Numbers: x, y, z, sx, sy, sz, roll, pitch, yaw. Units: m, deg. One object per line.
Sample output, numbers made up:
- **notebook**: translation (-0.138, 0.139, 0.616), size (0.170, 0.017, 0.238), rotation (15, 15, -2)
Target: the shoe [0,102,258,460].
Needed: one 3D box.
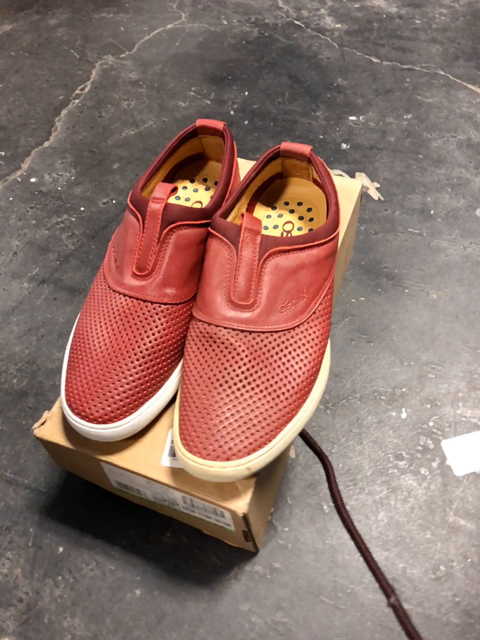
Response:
- **shoe**: translation (-0.072, -0.042, 0.394), size (0.100, 0.089, 0.251), rotation (13, 58, 13)

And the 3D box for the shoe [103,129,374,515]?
- **shoe**: translation (0.016, -0.013, 0.373), size (0.100, 0.089, 0.251), rotation (13, 58, 13)
